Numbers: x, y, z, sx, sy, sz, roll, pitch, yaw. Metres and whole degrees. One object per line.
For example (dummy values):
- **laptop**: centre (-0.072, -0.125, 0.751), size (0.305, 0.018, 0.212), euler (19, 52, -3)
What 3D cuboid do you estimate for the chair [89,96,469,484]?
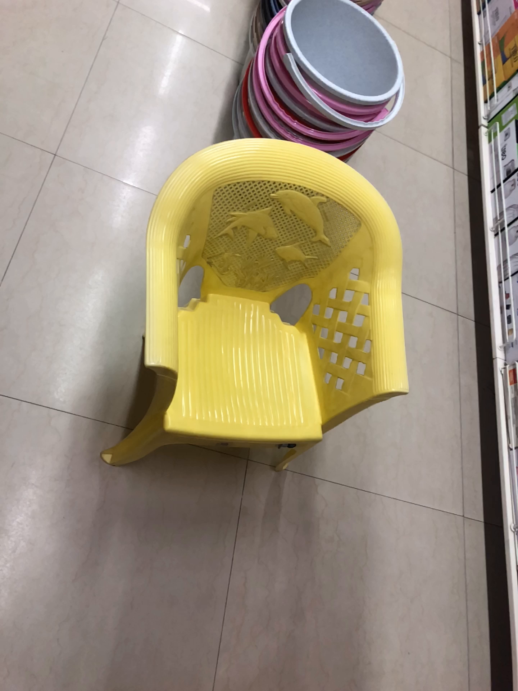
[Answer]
- **chair**: centre (-0.003, -0.040, 0.985), size (0.471, 0.398, 0.471), euler (8, 65, -23)
